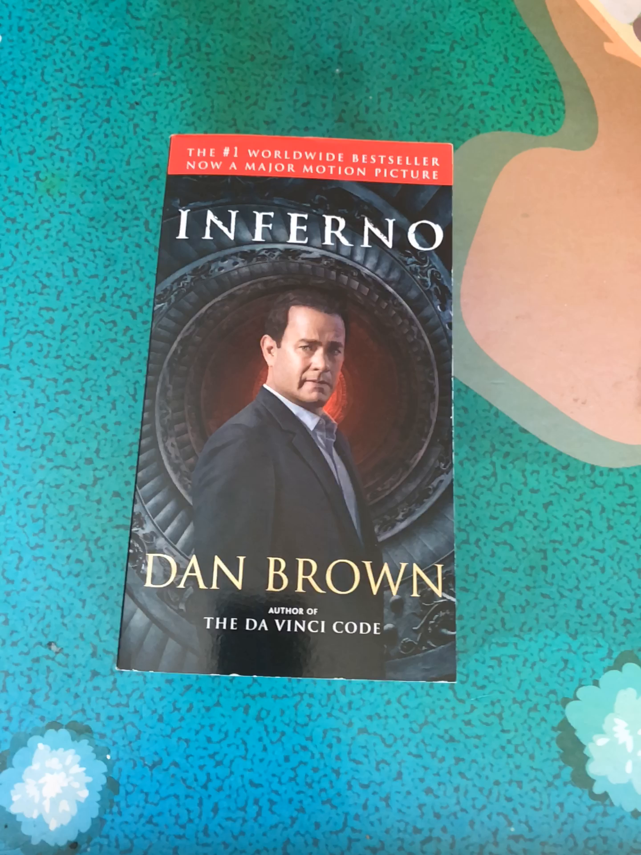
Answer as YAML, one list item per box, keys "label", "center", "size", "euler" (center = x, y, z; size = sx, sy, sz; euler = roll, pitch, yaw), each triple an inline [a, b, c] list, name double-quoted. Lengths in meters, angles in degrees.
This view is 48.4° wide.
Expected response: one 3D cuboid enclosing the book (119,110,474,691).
- label: "book"
  center: [-0.005, -0.011, 0.273]
  size: [0.110, 0.060, 0.200]
  euler: [3, 77, -2]
